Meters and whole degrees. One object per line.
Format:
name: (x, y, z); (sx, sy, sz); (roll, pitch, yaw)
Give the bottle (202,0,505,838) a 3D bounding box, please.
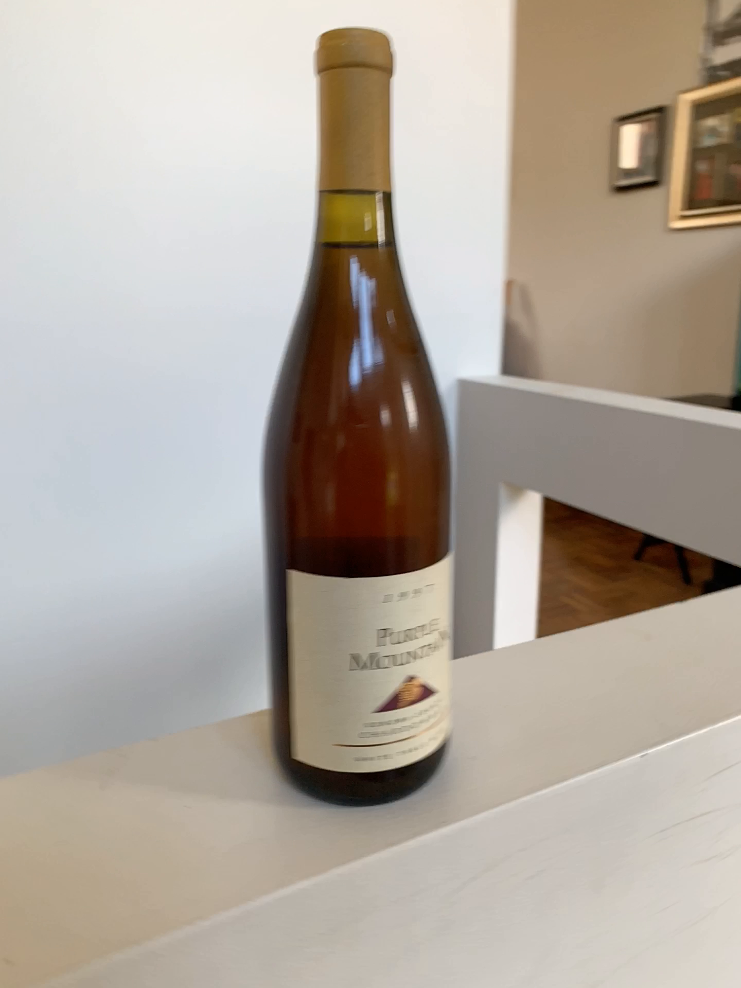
bottle: (-0.007, -0.028, 0.320); (0.080, 0.309, 0.080); (0, 14, 0)
